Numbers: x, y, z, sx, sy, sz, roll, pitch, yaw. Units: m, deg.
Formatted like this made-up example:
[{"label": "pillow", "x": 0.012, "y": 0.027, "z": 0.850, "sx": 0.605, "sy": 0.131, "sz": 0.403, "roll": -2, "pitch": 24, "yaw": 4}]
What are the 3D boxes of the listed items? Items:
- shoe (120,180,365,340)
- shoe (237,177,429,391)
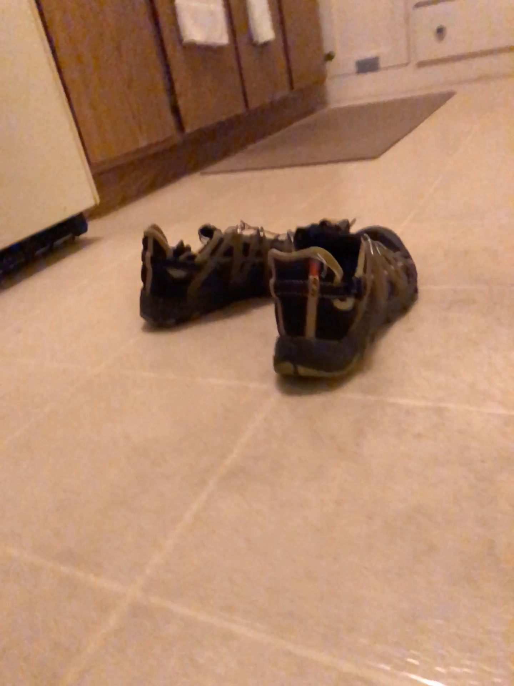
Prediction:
[{"label": "shoe", "x": -0.018, "y": -0.111, "z": 0.715, "sx": 0.279, "sy": 0.109, "sz": 0.100, "roll": -17, "pitch": 27, "yaw": -8}, {"label": "shoe", "x": 0.100, "y": -0.079, "z": 0.602, "sx": 0.109, "sy": 0.111, "sz": 0.288, "roll": 2, "pitch": 30, "yaw": 26}]
